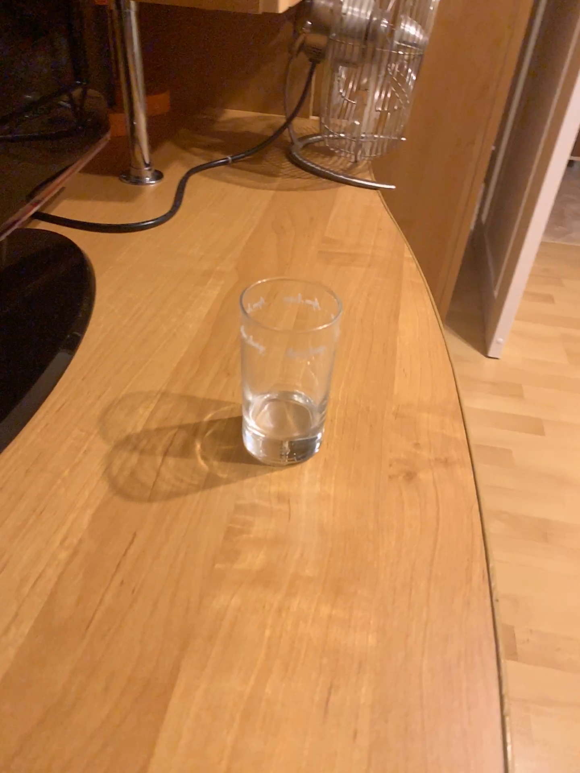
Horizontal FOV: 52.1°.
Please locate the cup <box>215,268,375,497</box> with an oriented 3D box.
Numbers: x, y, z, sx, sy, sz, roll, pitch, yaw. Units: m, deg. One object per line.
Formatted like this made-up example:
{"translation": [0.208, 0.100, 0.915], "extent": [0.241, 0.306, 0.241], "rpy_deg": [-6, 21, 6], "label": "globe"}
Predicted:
{"translation": [-0.001, -0.003, 0.332], "extent": [0.060, 0.099, 0.060], "rpy_deg": [3, 39, -2], "label": "cup"}
